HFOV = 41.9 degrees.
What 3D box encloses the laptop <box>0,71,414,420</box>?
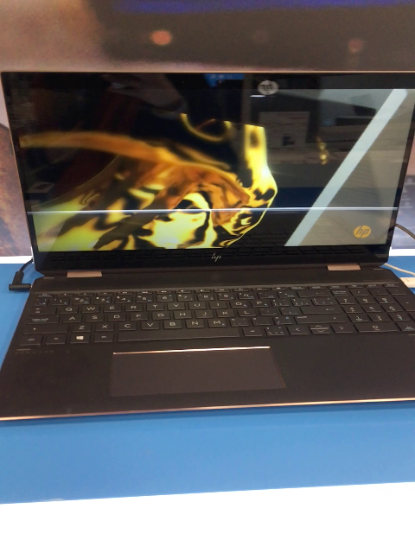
[{"bbox_3d":[0.033,-0.049,0.453,0.391,0.211,0.255,-2,28,-5],"label":"laptop"}]
